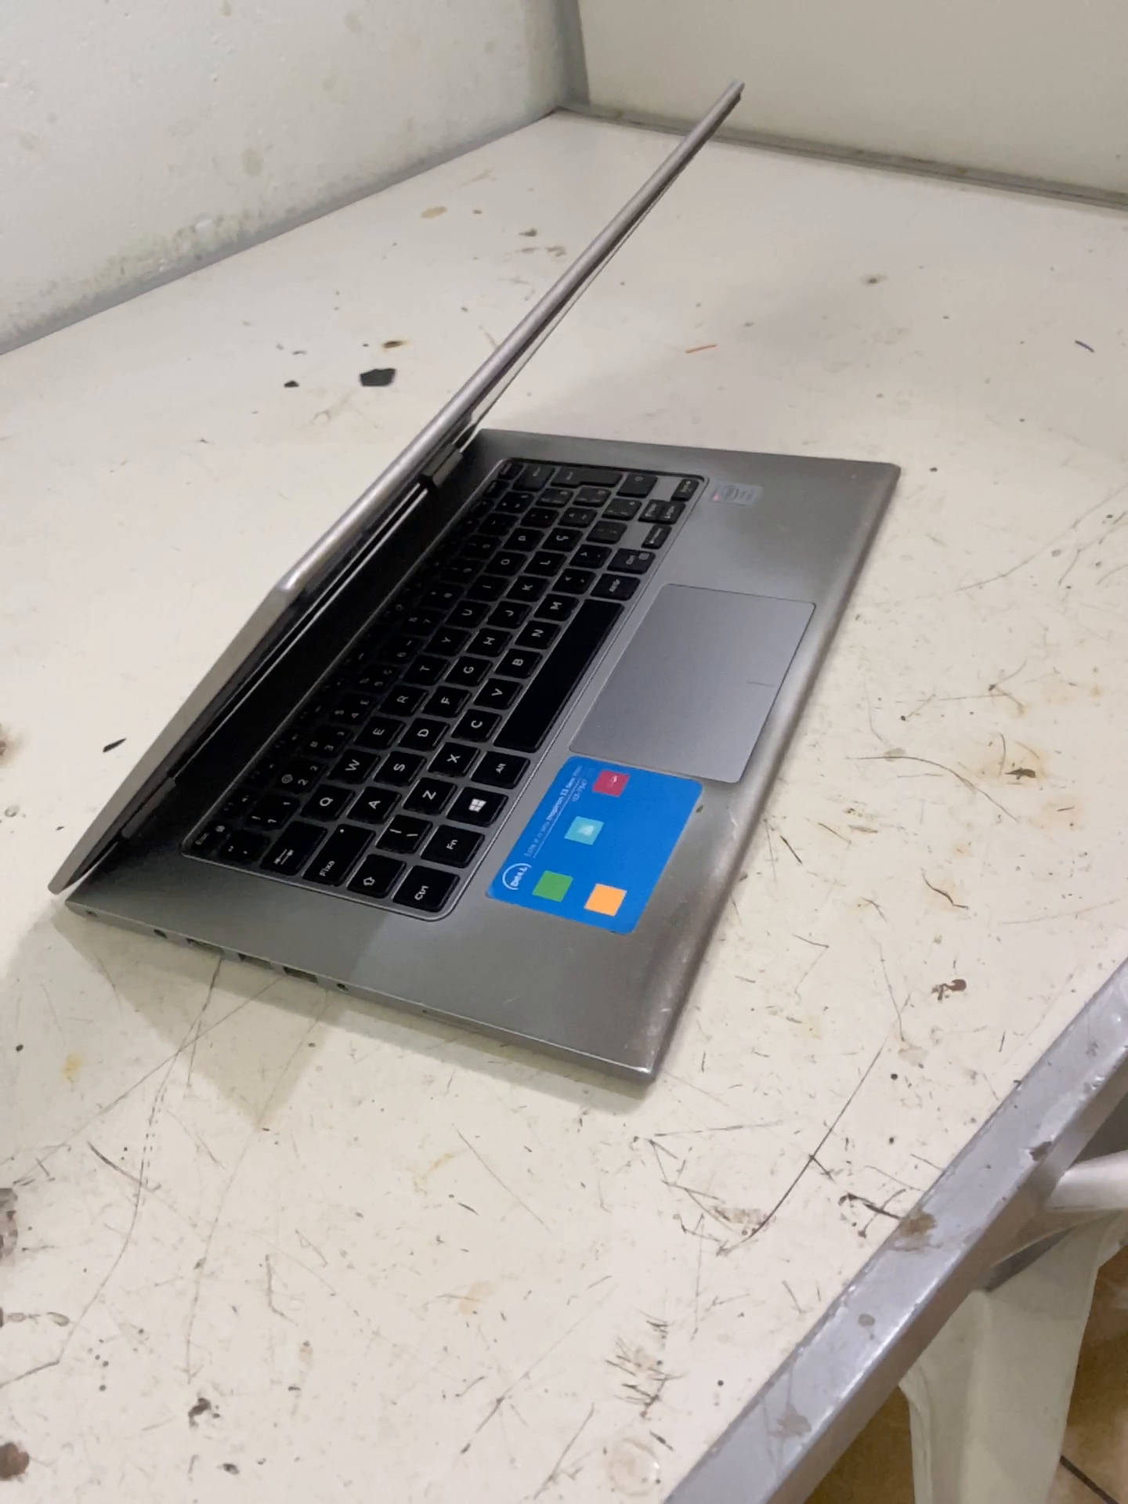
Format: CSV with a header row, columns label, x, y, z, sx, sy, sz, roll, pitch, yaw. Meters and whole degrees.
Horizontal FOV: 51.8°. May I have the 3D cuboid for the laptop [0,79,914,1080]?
label,x,y,z,sx,sy,sz,roll,pitch,yaw
laptop,-0.024,-0.096,0.413,0.218,0.155,0.328,11,47,22
